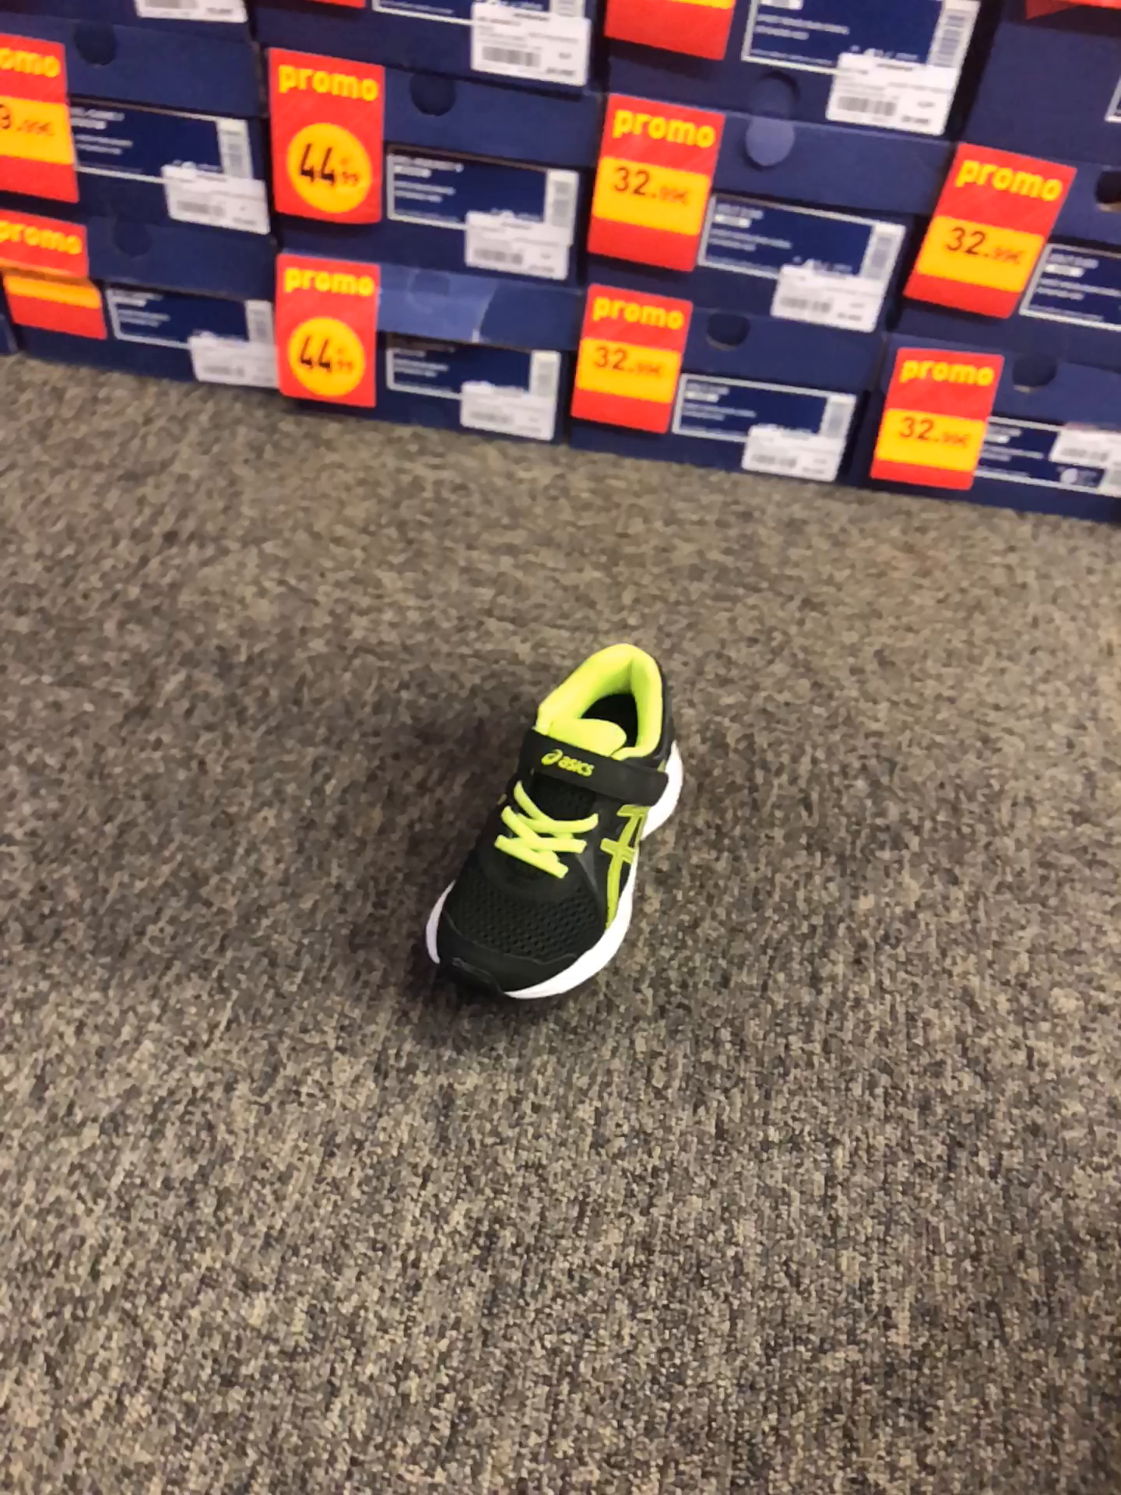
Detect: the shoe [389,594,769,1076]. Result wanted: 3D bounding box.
[{"bbox_3d":[0.013,0.031,0.571,0.090,0.080,0.201,22,49,14],"label":"shoe"}]
